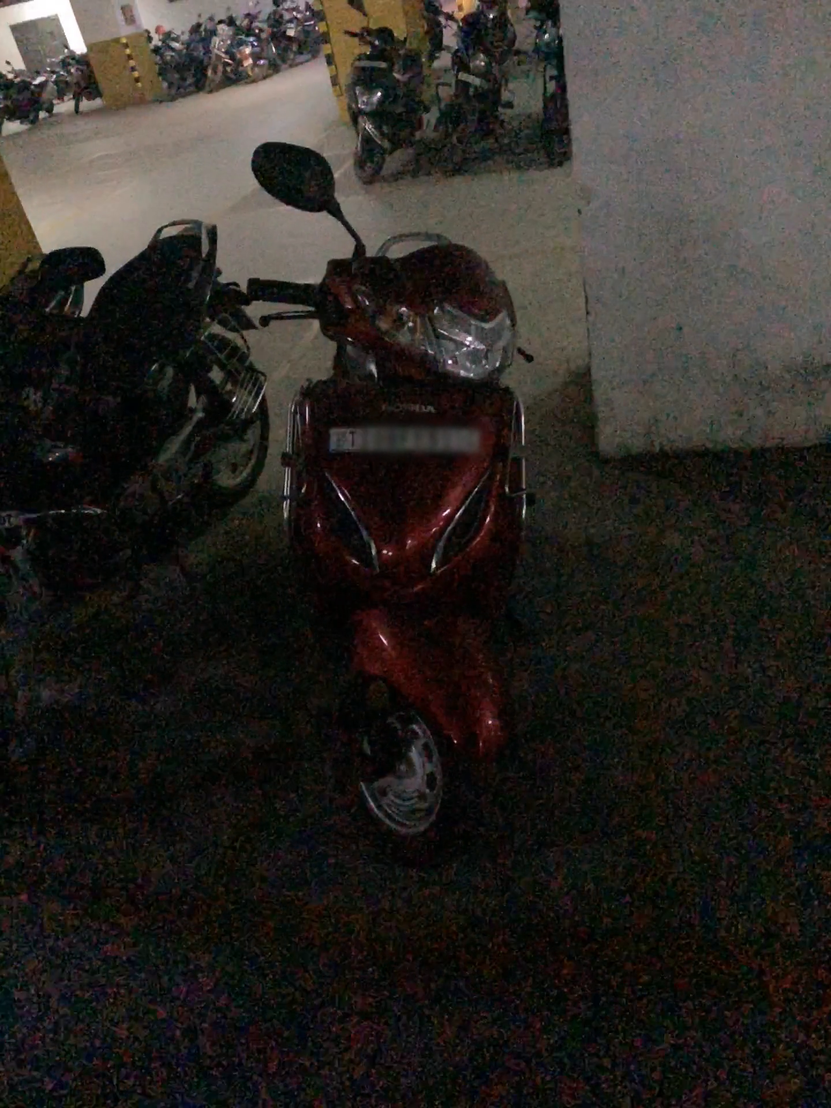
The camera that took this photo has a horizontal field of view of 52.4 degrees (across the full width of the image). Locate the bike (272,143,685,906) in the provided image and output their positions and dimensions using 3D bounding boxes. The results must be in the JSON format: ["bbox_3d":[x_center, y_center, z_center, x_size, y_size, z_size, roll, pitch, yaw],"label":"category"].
[{"bbox_3d":[0.092,-0.166,1.998,0.486,0.909,1.397,-14,43,-1],"label":"bike"}]
